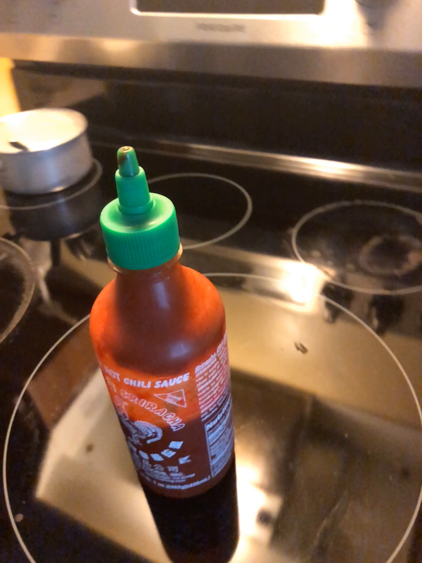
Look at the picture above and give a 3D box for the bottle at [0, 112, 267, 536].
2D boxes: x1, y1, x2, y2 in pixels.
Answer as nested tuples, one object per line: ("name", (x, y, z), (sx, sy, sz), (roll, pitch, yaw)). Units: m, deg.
("bottle", (-0.020, 0.033, 0.234), (0.070, 0.199, 0.070), (-3, 40, 3))
